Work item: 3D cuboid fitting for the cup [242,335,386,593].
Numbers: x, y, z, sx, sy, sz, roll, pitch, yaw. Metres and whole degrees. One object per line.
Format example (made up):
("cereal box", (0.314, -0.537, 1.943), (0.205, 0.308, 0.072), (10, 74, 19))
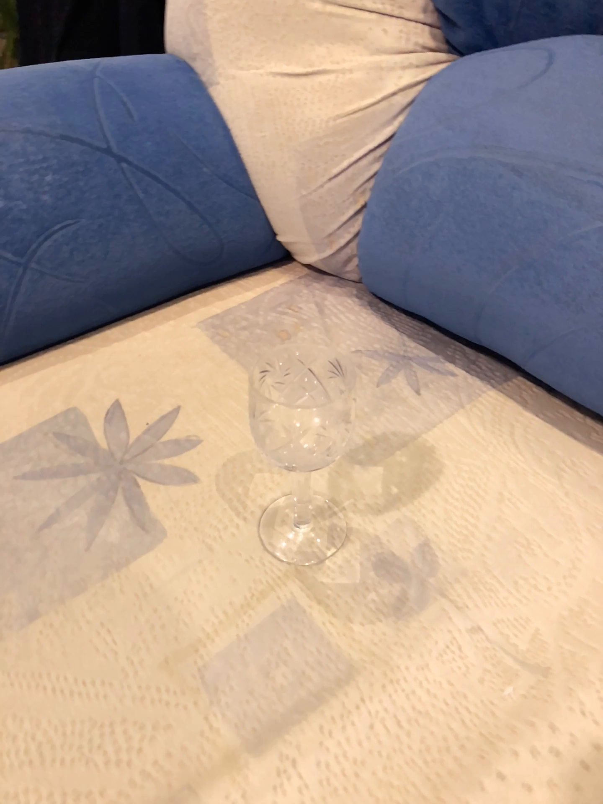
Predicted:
("cup", (0.005, 0.034, 0.335), (0.060, 0.119, 0.060), (-1, 39, 1))
